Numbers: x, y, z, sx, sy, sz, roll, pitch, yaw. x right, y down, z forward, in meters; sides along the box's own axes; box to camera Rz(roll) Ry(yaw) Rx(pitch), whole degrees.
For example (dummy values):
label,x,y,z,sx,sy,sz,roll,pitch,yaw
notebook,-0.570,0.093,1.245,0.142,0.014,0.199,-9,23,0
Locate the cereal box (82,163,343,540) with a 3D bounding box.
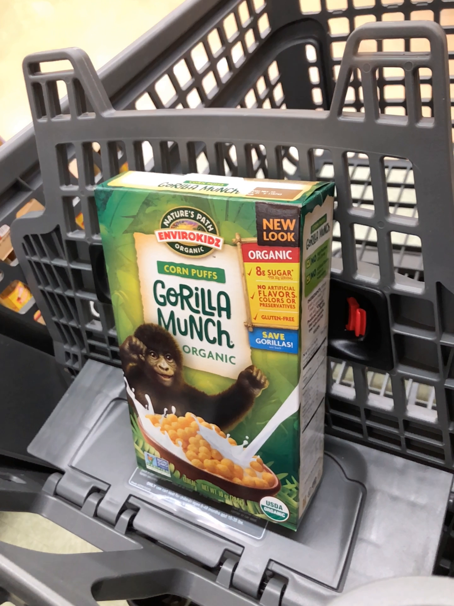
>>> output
label,x,y,z,sx,sy,sz,roll,pitch,yaw
cereal box,-0.004,0.034,0.391,0.160,0.260,0.070,11,29,28
